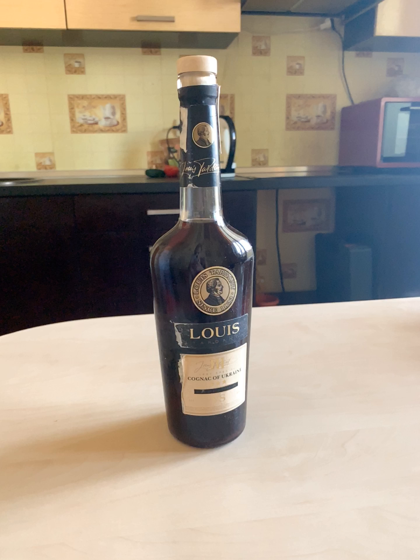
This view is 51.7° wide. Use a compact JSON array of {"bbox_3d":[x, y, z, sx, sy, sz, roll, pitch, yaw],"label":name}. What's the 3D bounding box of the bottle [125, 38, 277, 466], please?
[{"bbox_3d":[-0.008,-0.014,0.339,0.080,0.289,0.080,-1,15,0],"label":"bottle"}]
